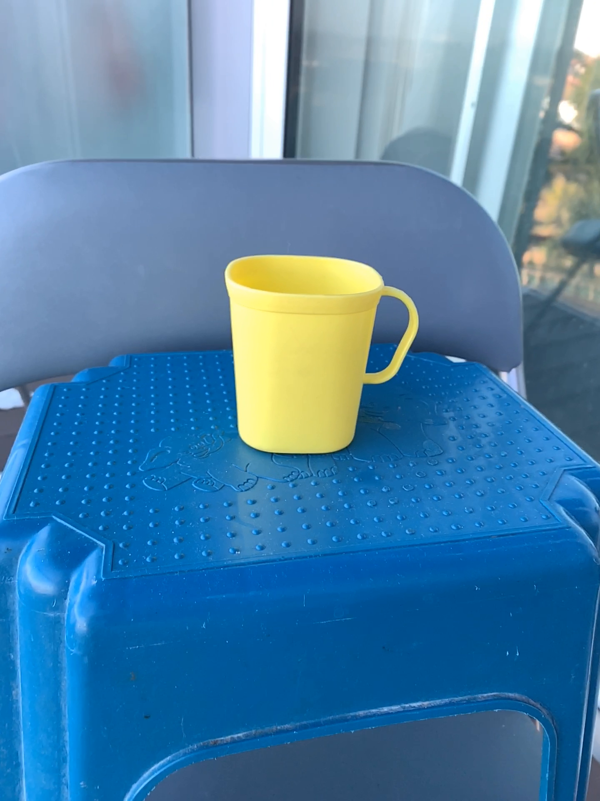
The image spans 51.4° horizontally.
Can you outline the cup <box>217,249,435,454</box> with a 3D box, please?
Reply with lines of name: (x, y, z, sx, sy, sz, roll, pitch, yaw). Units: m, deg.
cup: (0.008, -0.026, 0.300, 0.089, 0.077, 0.068, -1, 26, -5)
